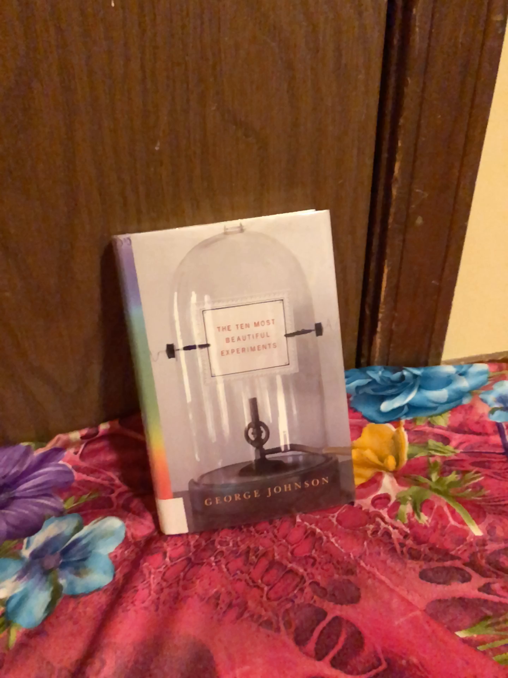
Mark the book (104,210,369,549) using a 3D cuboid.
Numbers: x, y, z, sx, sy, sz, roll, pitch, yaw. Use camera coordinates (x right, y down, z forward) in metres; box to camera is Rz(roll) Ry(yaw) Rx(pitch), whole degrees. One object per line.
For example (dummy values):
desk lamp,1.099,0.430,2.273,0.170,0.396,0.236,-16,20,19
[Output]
book,-0.007,0.023,0.357,0.140,0.190,0.033,-9,11,-10
